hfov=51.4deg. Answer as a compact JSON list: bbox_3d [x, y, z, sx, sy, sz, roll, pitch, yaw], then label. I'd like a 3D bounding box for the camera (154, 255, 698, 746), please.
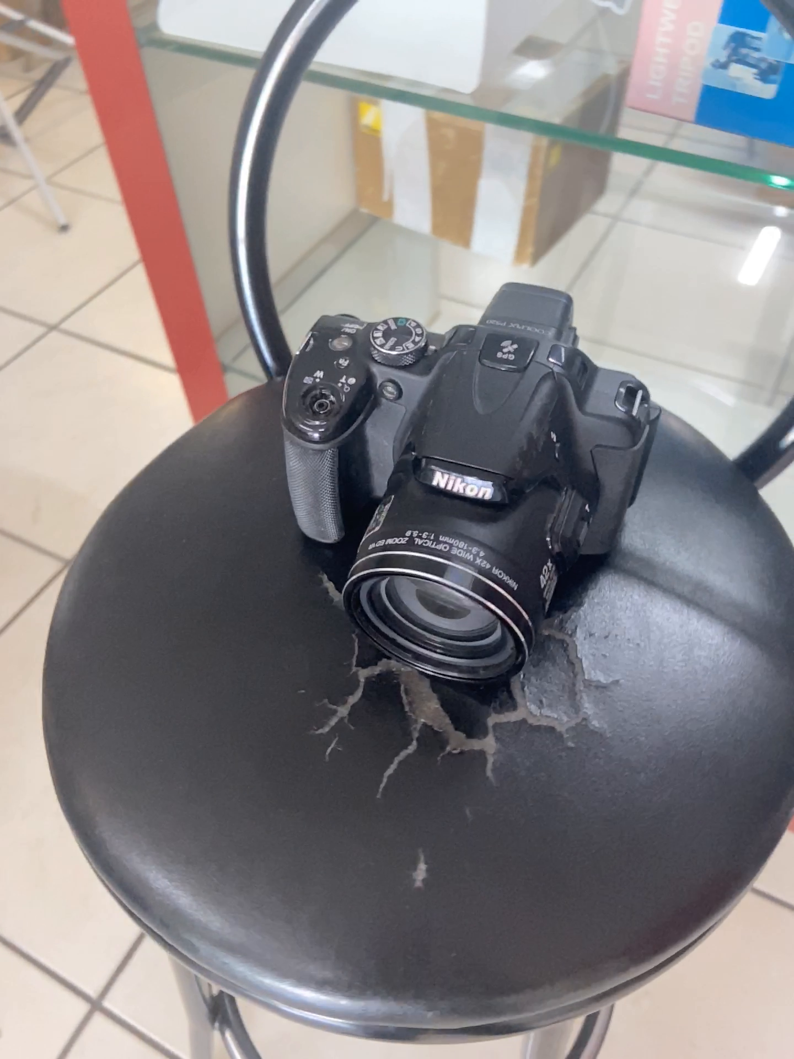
[{"bbox_3d":[0.016,-0.017,0.272,0.130,0.070,0.121,14,52,14],"label":"camera"}]
